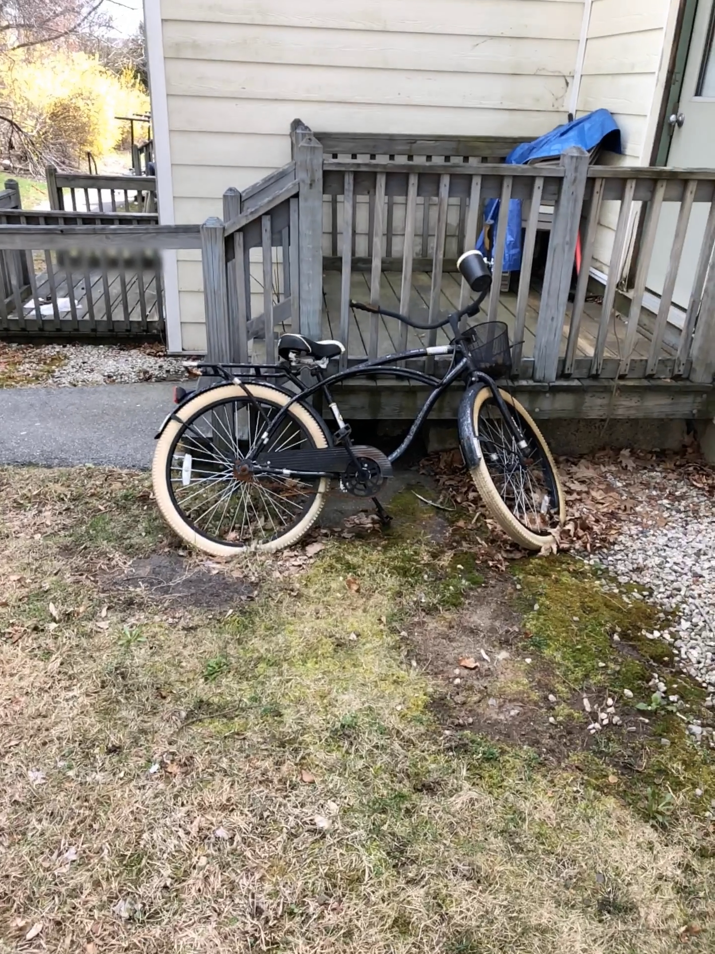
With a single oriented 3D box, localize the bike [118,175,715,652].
[{"bbox_3d":[0.144,-0.306,2.885,1.610,1.313,0.942,-9,28,-15],"label":"bike"}]
